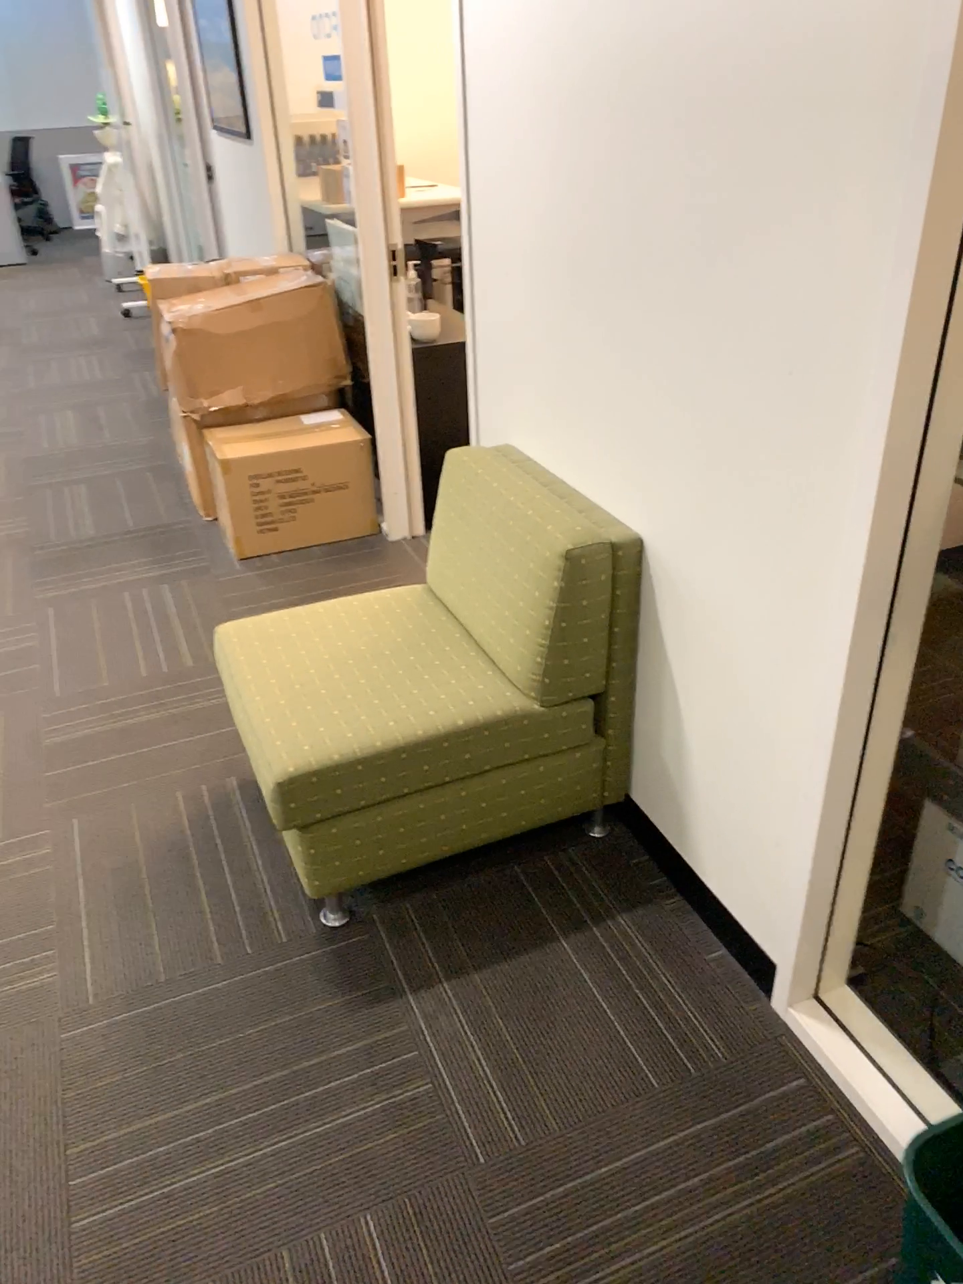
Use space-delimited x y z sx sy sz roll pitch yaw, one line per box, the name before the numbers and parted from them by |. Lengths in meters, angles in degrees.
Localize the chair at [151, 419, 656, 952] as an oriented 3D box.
chair | -0.180 0.026 2.086 0.780 0.686 0.735 -15 33 -19
